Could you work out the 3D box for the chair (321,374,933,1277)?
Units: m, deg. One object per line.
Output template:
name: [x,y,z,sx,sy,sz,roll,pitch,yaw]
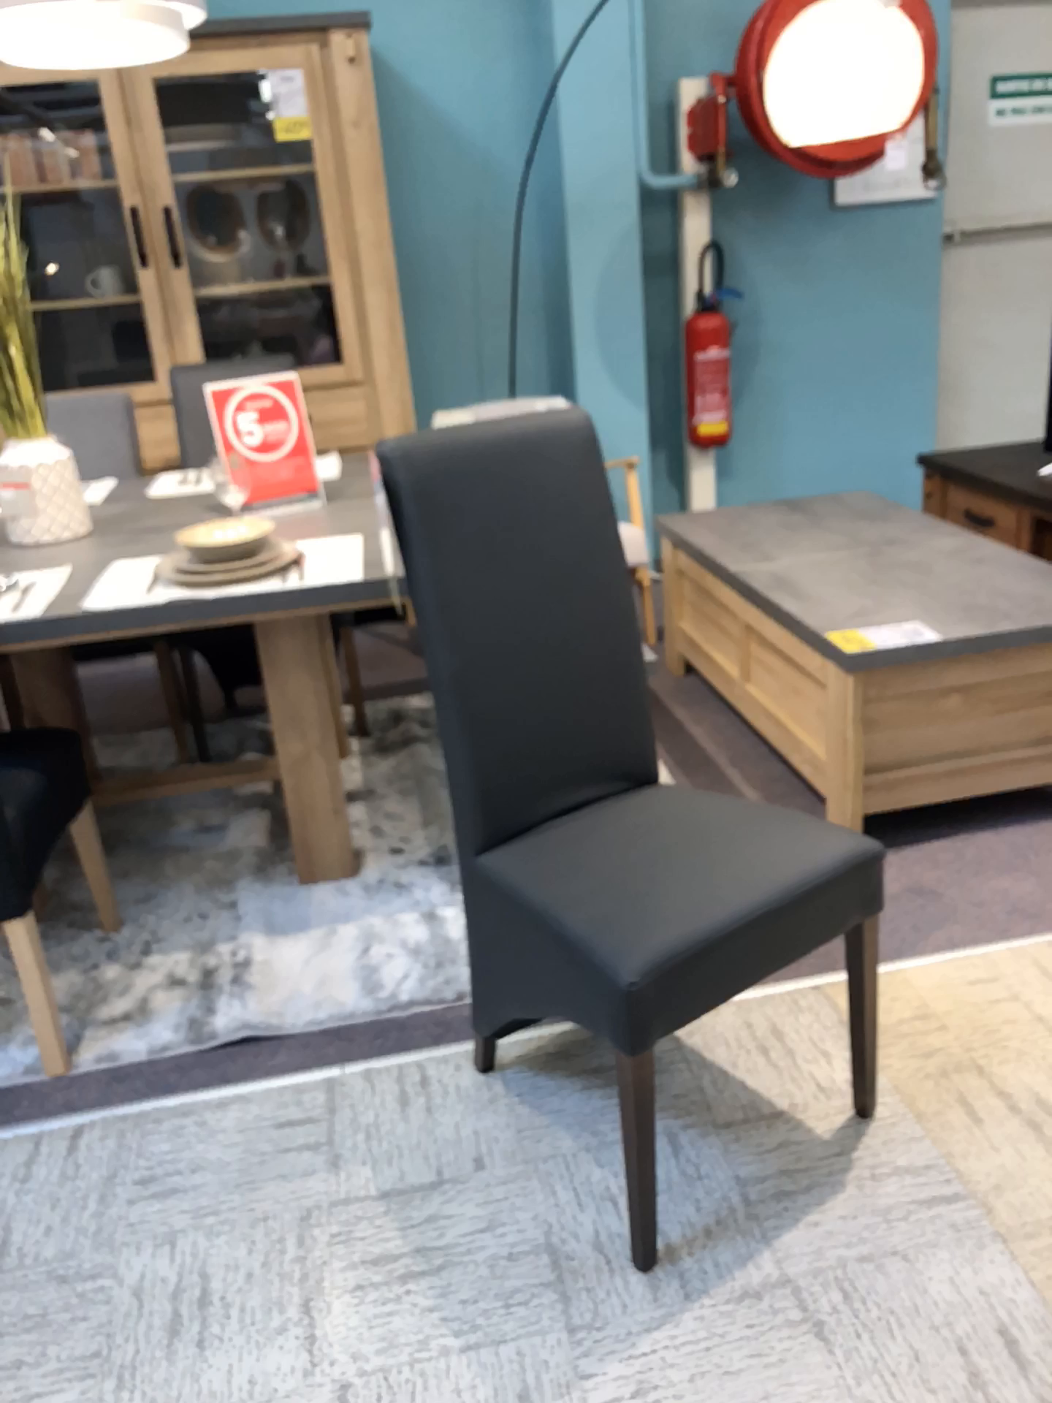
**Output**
chair: [0.147,0.103,1.636,0.522,1.015,0.570,-19,24,-32]
